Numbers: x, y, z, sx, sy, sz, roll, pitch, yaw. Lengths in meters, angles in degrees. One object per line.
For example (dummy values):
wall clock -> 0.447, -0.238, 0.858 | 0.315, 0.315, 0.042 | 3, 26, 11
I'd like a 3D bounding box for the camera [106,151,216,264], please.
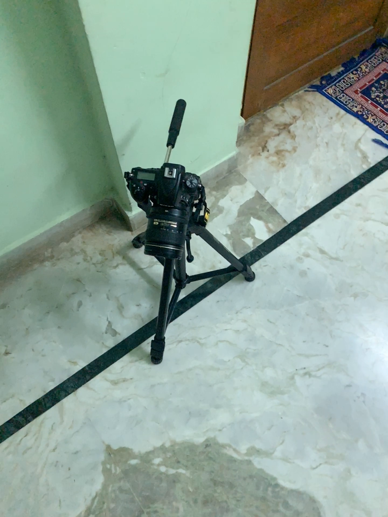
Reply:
camera -> -0.057, -0.094, 0.771 | 0.170, 0.110, 0.180 | 10, 88, 5
